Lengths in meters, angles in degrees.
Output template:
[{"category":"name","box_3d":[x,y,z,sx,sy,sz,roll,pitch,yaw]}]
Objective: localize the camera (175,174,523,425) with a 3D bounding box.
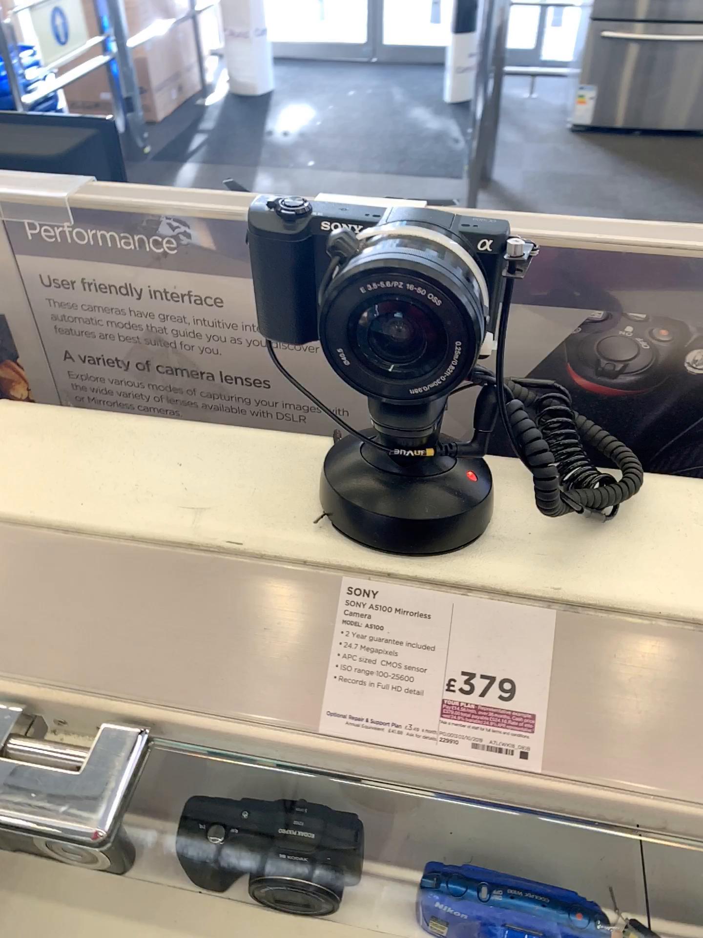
[{"category":"camera","box_3d":[0.004,-0.074,0.301,0.120,0.059,0.081,9,42,11]}]
